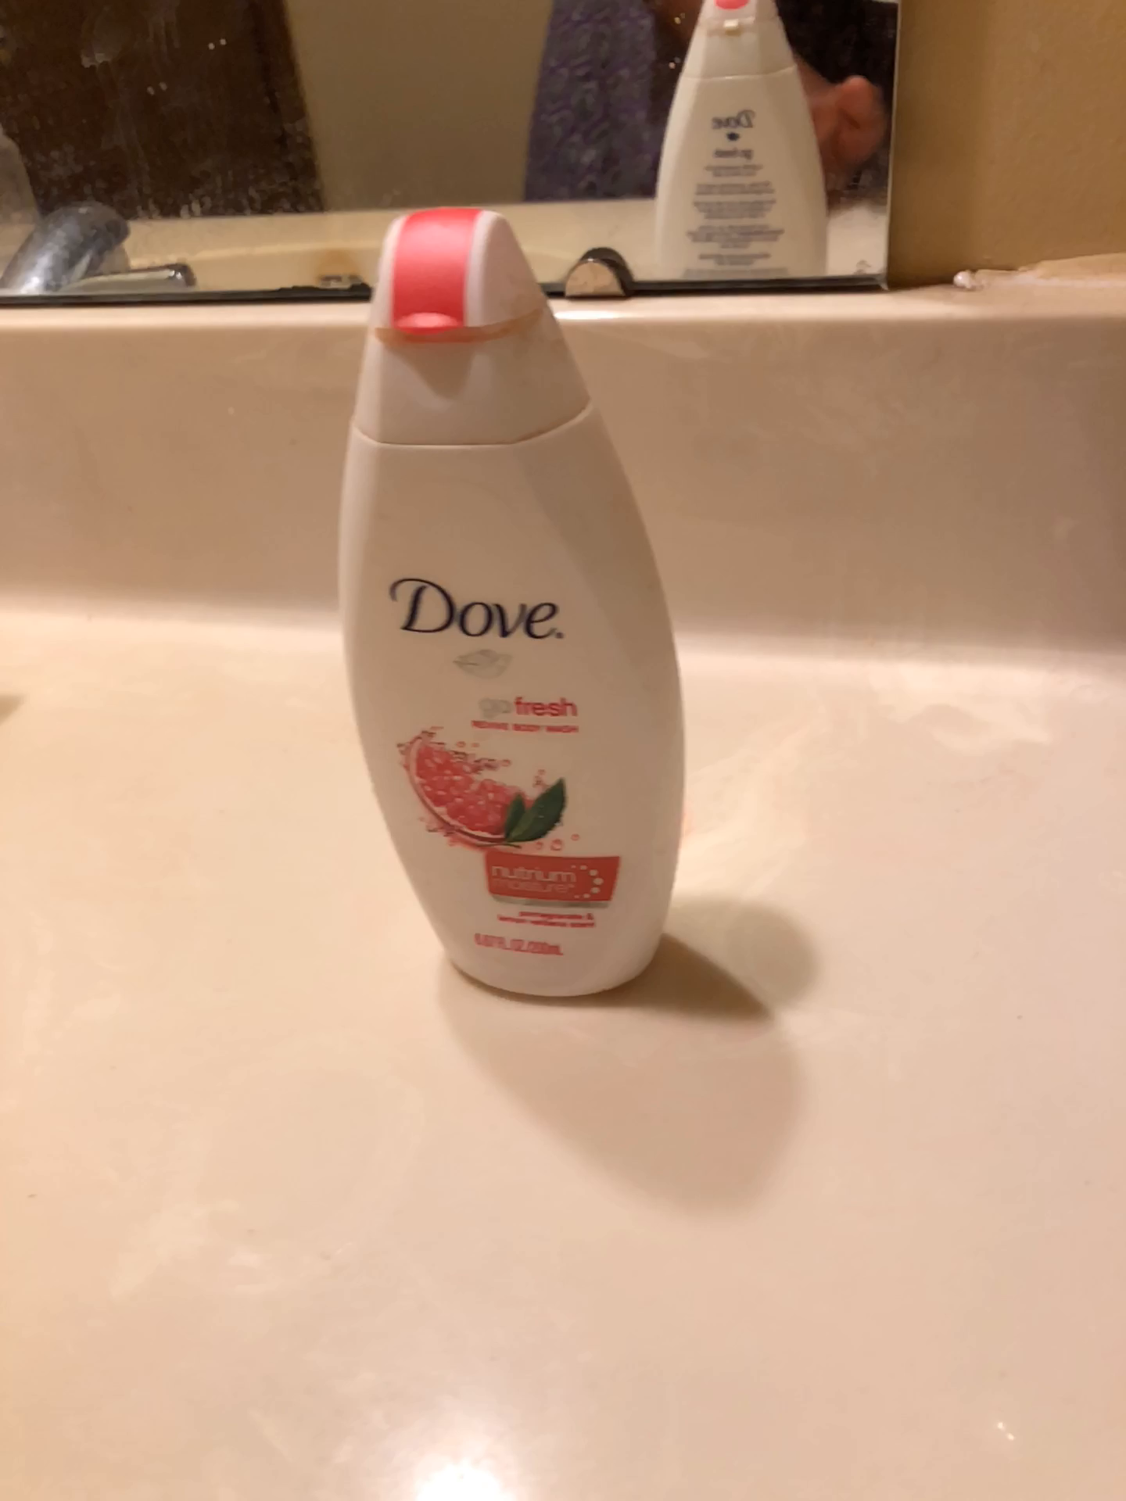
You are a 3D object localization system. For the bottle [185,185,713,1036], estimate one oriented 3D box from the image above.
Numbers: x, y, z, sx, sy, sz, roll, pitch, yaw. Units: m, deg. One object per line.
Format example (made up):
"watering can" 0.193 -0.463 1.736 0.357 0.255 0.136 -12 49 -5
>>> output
"bottle" -0.011 -0.019 0.245 0.070 0.160 0.040 5 37 16
